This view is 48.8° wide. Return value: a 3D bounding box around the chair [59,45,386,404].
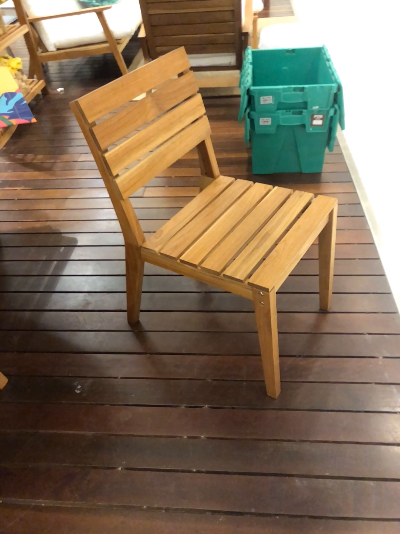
[{"bbox_3d":[0.083,-0.132,1.265,0.601,0.764,0.463,21,48,27],"label":"chair"}]
